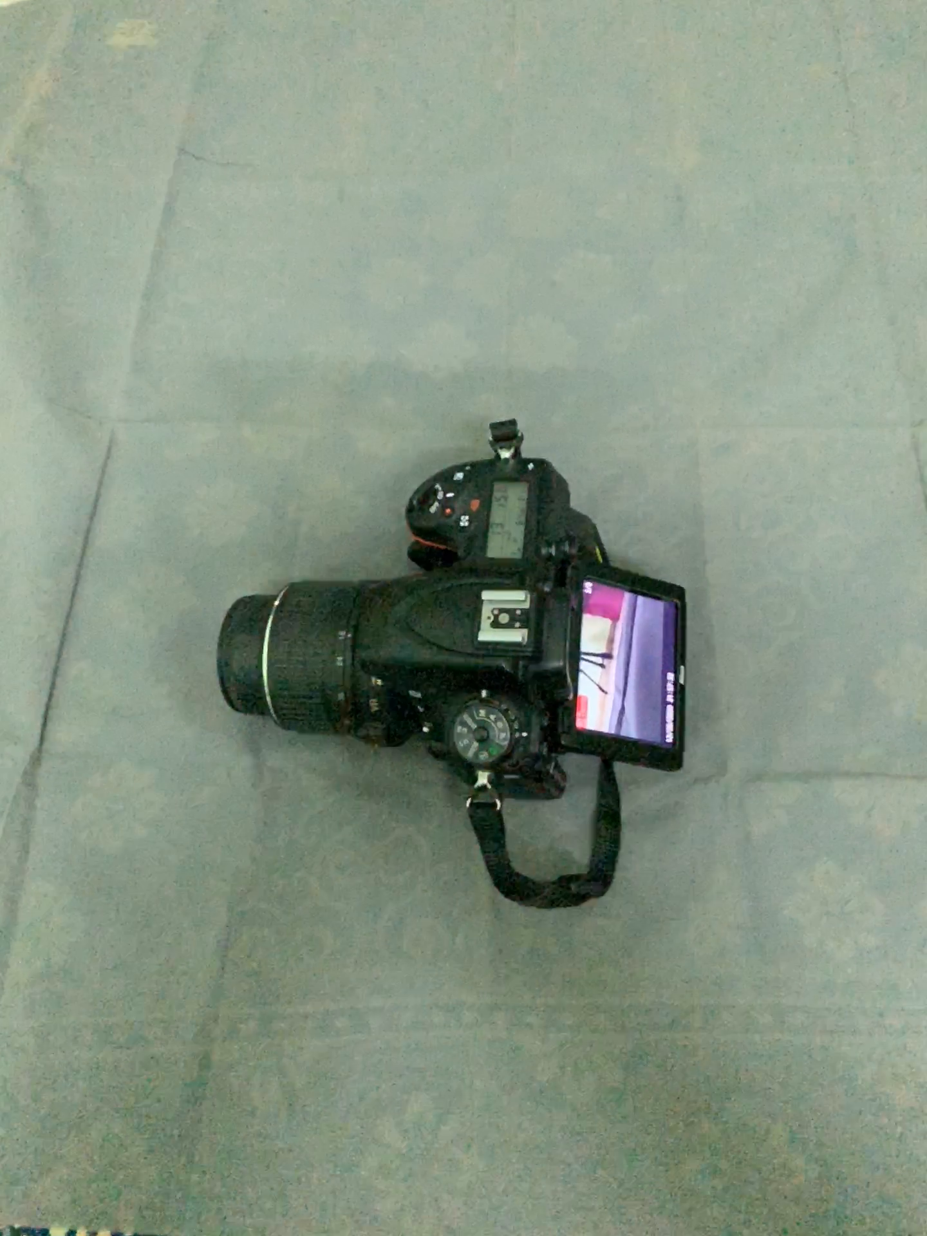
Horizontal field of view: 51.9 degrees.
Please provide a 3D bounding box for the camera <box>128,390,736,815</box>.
[{"bbox_3d":[-0.011,-0.004,0.440,0.230,0.100,0.165,-1,65,2],"label":"camera"}]
